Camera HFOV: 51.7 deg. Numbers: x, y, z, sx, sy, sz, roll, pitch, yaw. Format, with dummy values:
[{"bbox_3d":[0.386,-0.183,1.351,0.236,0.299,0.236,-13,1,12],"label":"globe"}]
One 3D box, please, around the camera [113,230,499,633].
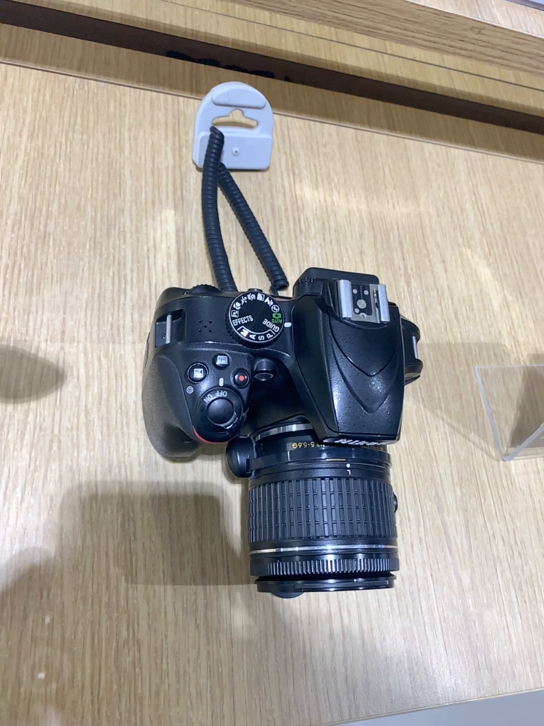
[{"bbox_3d":[-0.001,0.032,0.233,0.120,0.090,0.130,2,67,-17],"label":"camera"}]
